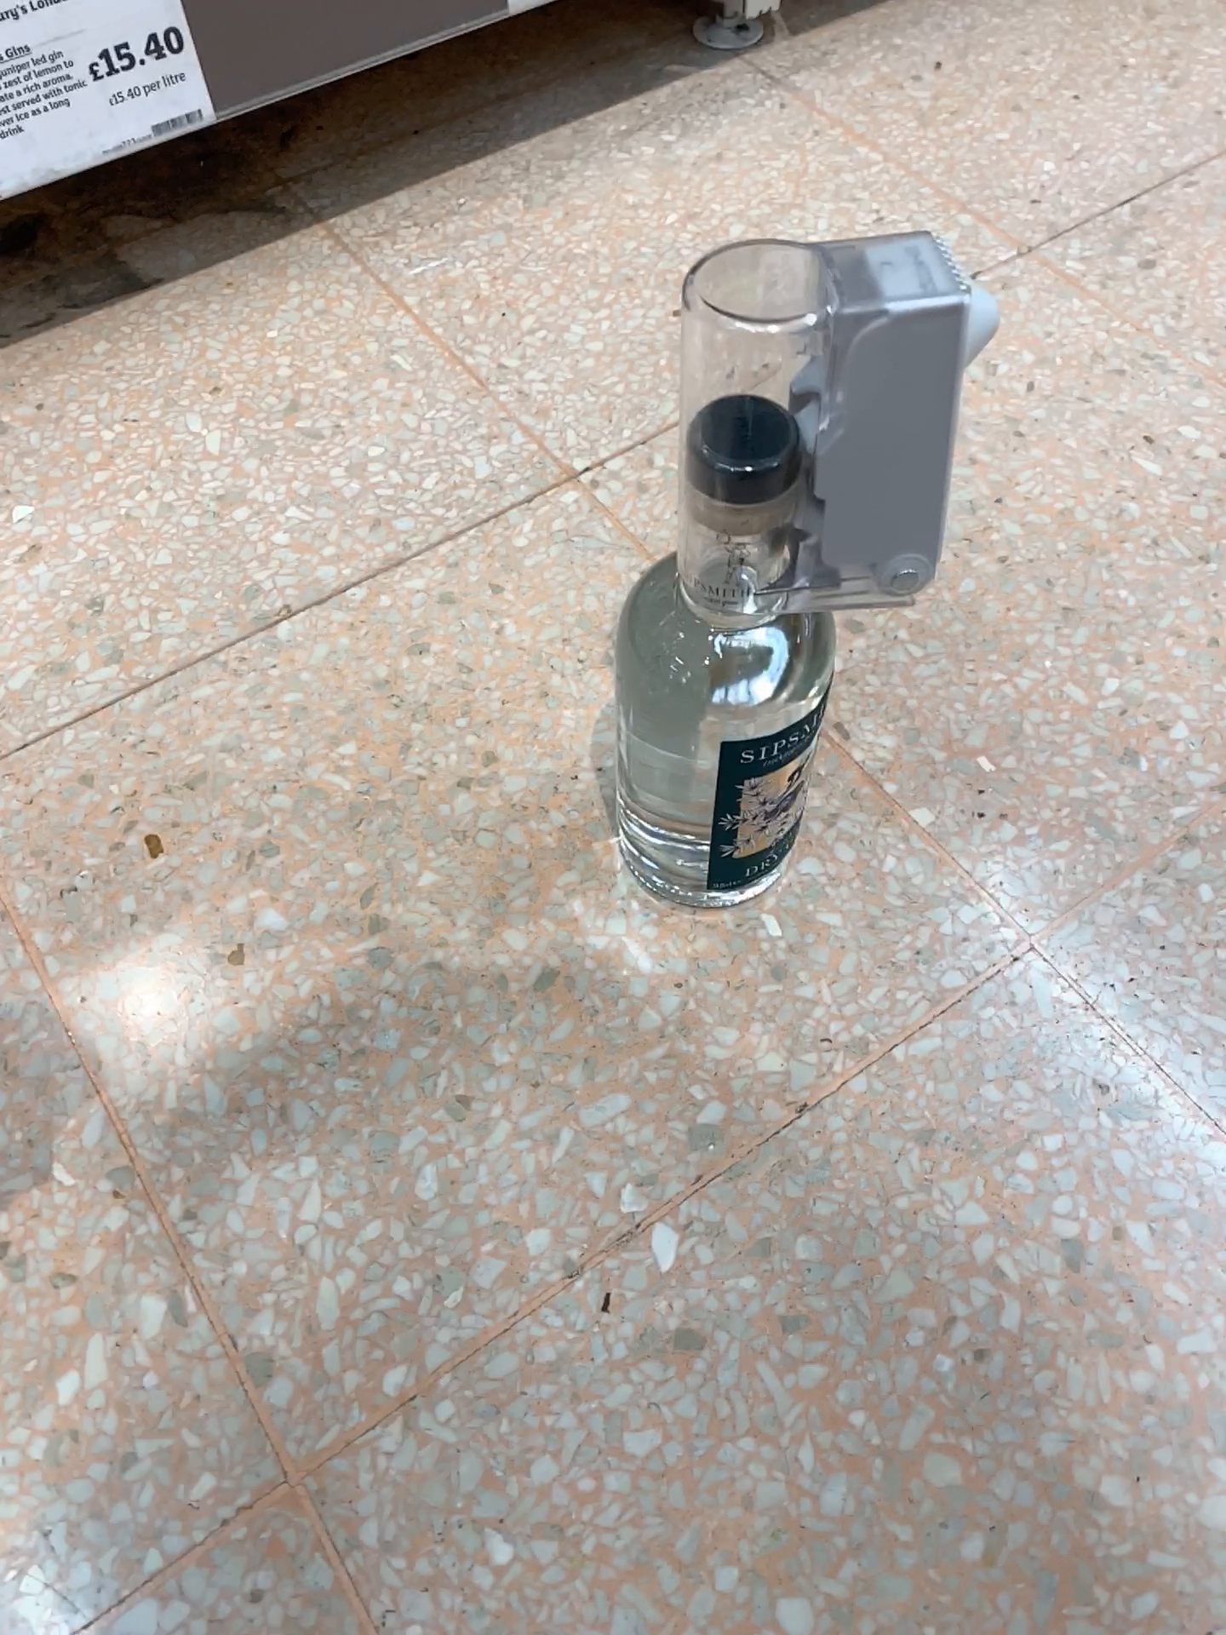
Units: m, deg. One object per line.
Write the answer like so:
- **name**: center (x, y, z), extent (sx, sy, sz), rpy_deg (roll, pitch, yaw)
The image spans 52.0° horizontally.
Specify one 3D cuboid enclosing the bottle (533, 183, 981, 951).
- **bottle**: center (0.034, -0.055, 0.378), extent (0.074, 0.222, 0.069), rpy_deg (0, 57, 1)
